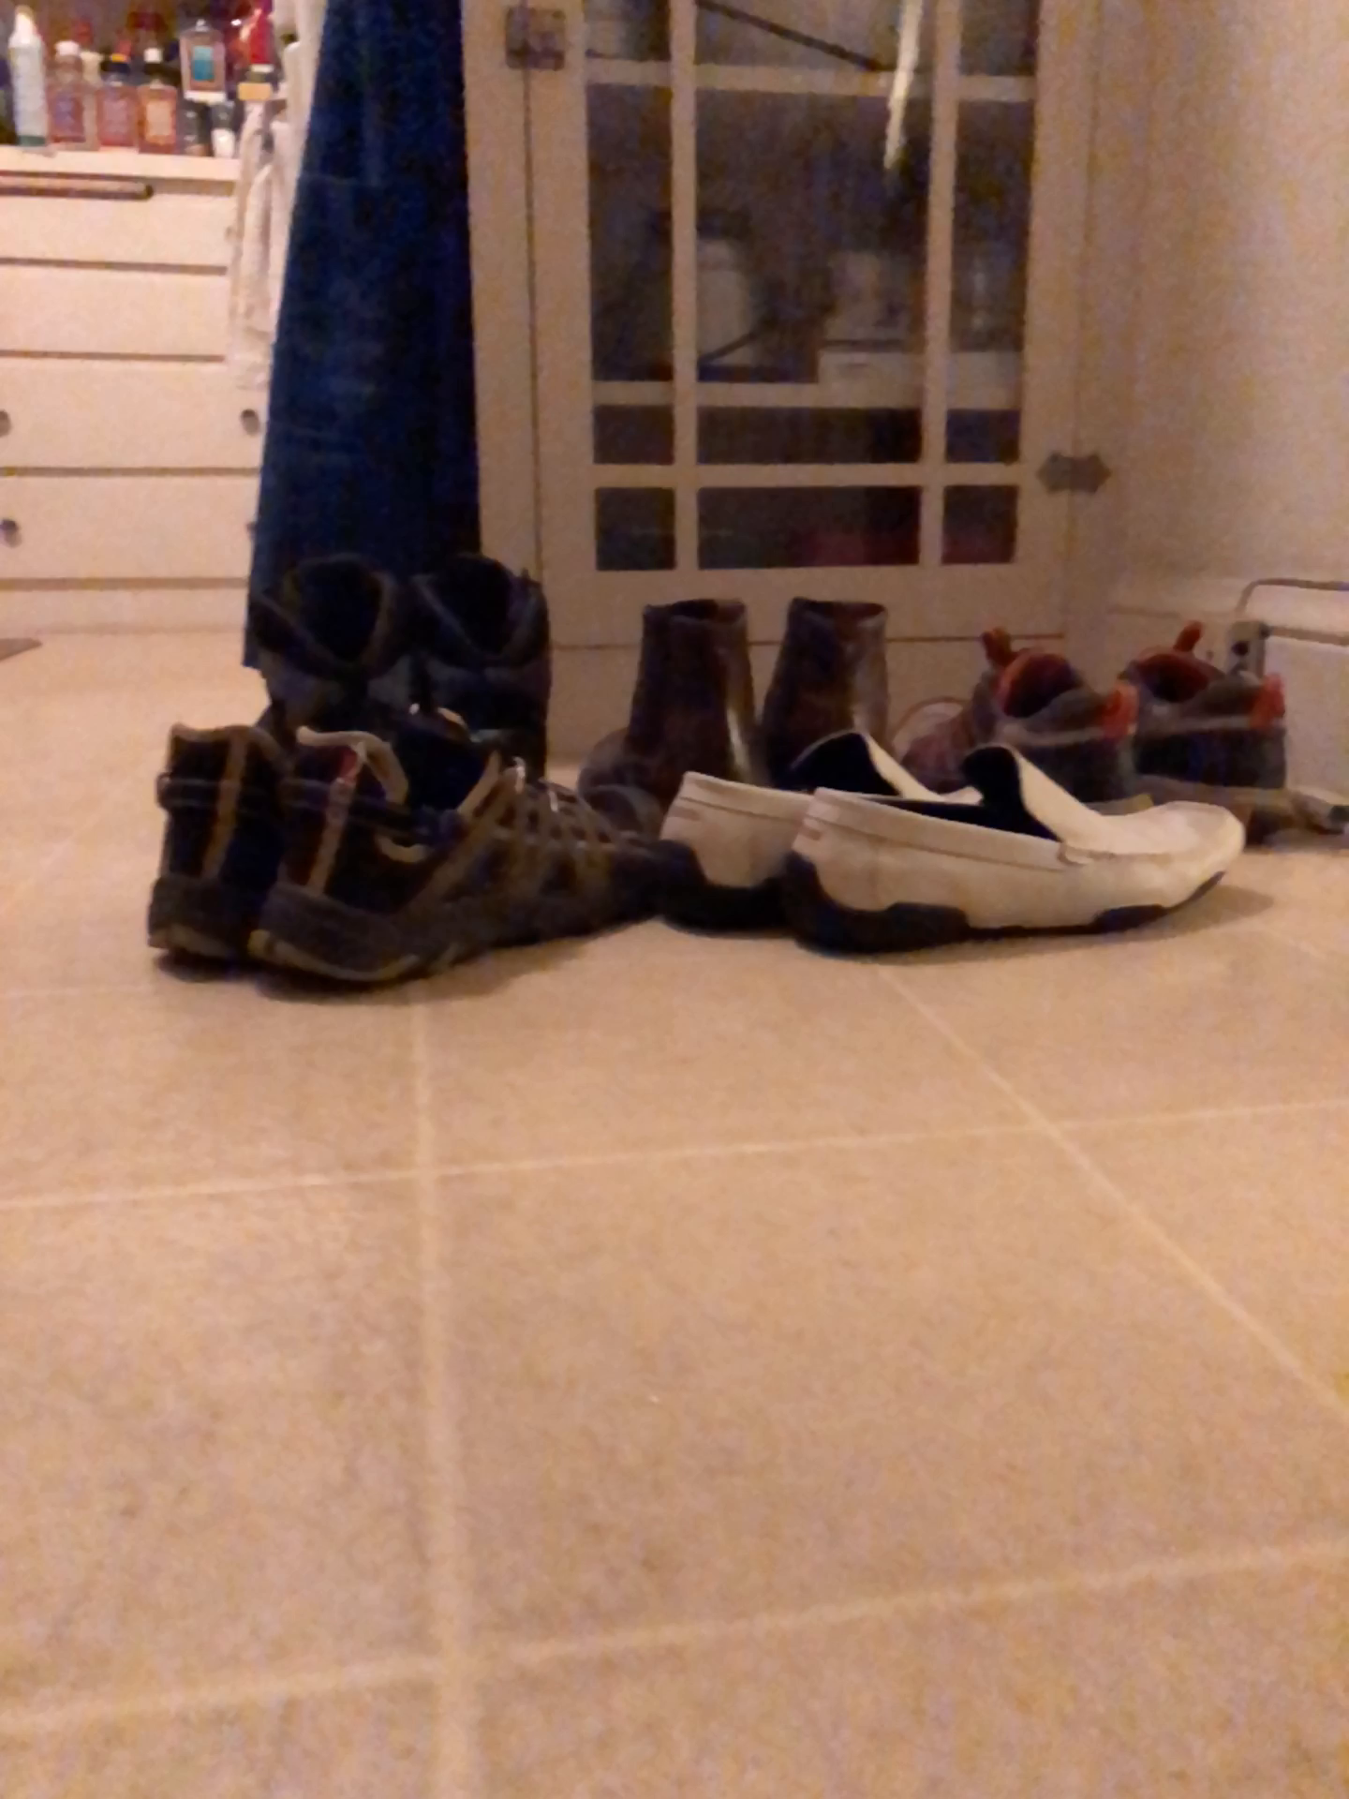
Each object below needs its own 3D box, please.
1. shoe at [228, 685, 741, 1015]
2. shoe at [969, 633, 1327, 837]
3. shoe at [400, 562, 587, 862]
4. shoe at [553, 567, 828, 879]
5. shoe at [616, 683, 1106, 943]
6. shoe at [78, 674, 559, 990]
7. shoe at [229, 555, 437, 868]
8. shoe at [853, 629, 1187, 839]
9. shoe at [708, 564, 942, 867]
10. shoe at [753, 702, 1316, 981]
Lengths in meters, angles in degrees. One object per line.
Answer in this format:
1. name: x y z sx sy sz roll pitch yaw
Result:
1. shoe: -0.090 -0.042 0.826 0.110 0.123 0.294 10 17 34
2. shoe: 0.348 -0.137 1.144 0.110 0.113 0.314 -3 14 -13
3. shoe: -0.149 -0.161 1.156 0.110 0.192 0.324 -3 14 -12
4. shoe: -0.001 -0.149 1.119 0.110 0.192 0.324 -4 15 -17
5. shoe: 0.121 -0.064 0.917 0.304 0.113 0.110 -10 17 -35
6. shoe: -0.187 -0.054 0.859 0.110 0.123 0.294 6 15 23
7. shoe: -0.264 -0.156 1.109 0.110 0.192 0.324 -4 15 -18
8. shoe: 0.243 -0.134 1.112 0.110 0.113 0.314 -3 14 -13
9. shoe: 0.103 -0.157 1.144 0.110 0.192 0.324 -1 14 -6
10. shoe: 0.205 -0.042 0.839 0.303 0.113 0.110 -7 15 -25
